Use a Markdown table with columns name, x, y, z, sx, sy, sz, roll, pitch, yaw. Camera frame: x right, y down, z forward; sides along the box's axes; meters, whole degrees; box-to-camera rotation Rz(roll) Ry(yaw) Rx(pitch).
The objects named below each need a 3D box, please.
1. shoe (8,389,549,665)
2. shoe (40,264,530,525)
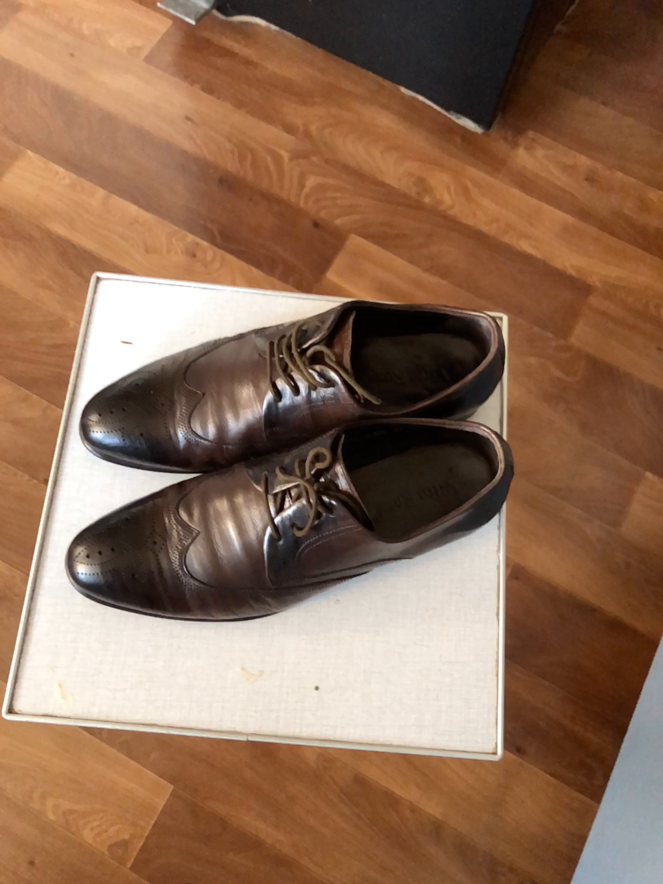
| name | x | y | z | sx | sy | sz | roll | pitch | yaw |
| --- | --- | --- | --- | --- | --- | --- | --- | --- | --- |
| shoe | -0.032 | 0.056 | 0.459 | 0.290 | 0.100 | 0.100 | -11 | 73 | -7 |
| shoe | -0.031 | -0.030 | 0.502 | 0.290 | 0.100 | 0.100 | -11 | 73 | -7 |
